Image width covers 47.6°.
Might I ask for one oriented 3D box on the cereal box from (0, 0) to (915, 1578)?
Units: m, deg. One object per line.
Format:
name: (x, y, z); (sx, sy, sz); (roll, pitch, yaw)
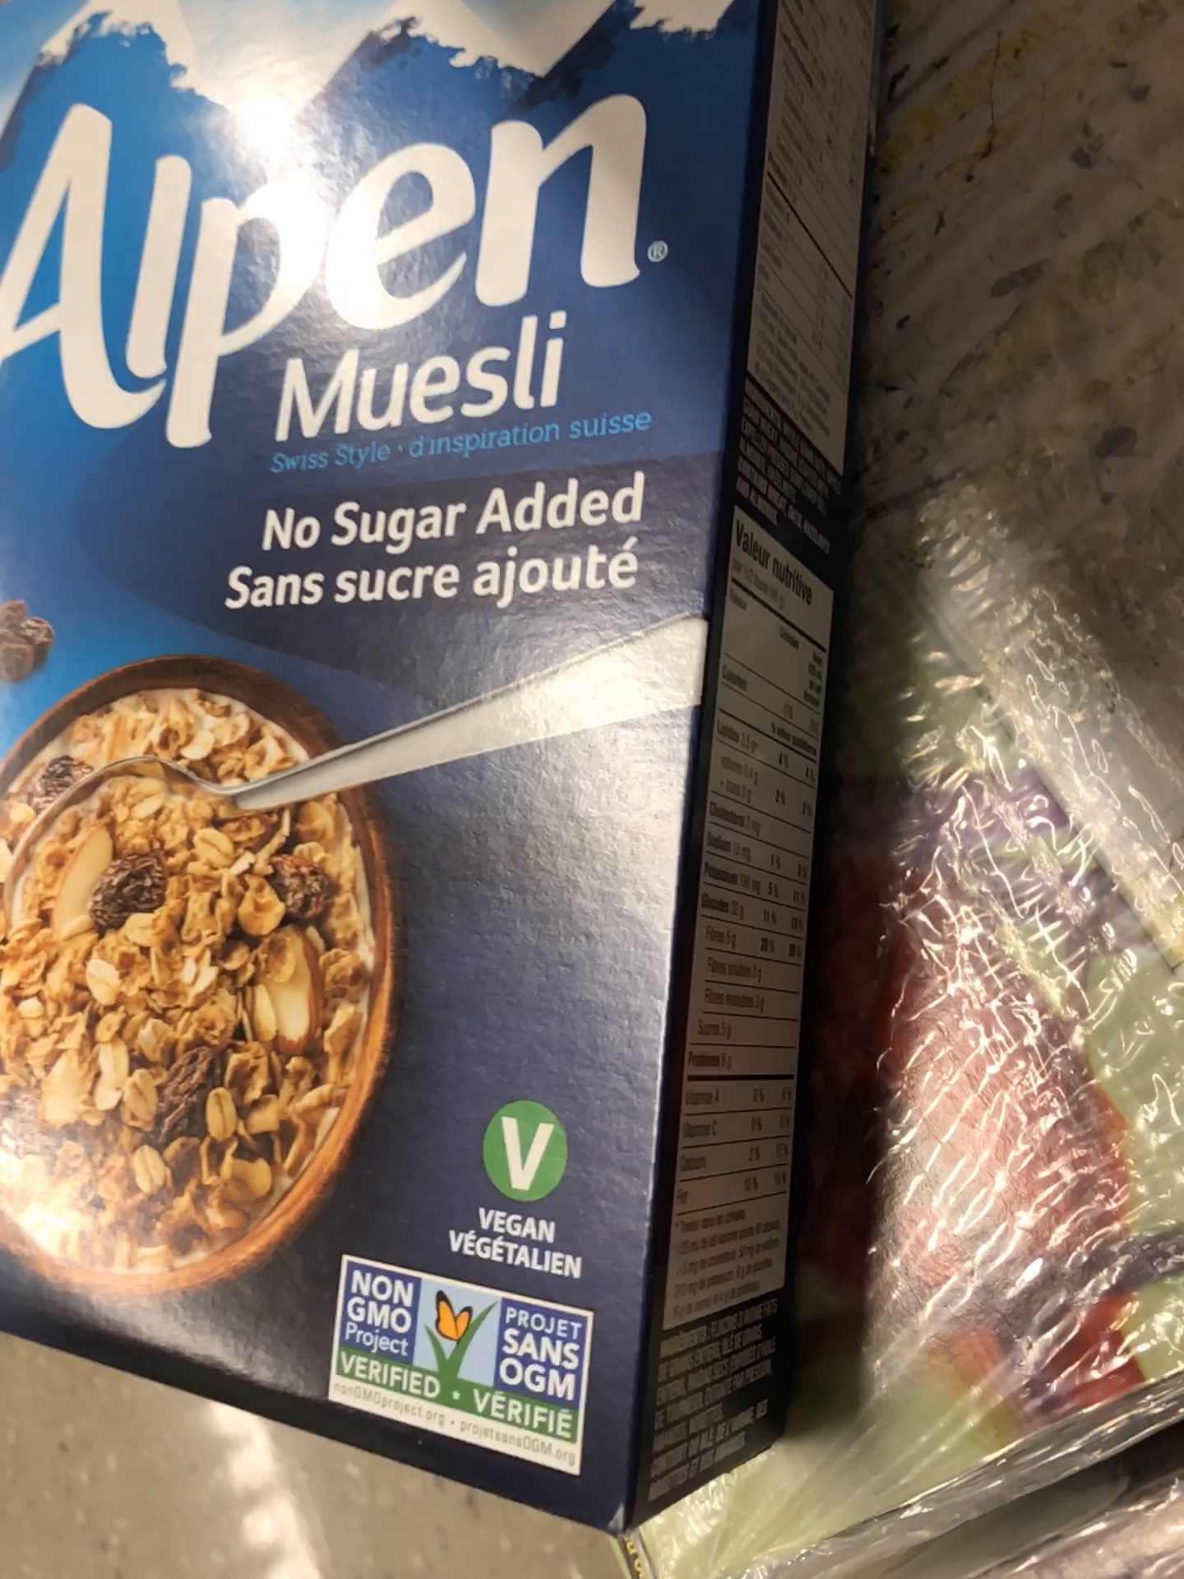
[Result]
cereal box: (-0.060, -0.035, 0.224); (0.201, 0.050, 0.250); (1, 80, 29)
